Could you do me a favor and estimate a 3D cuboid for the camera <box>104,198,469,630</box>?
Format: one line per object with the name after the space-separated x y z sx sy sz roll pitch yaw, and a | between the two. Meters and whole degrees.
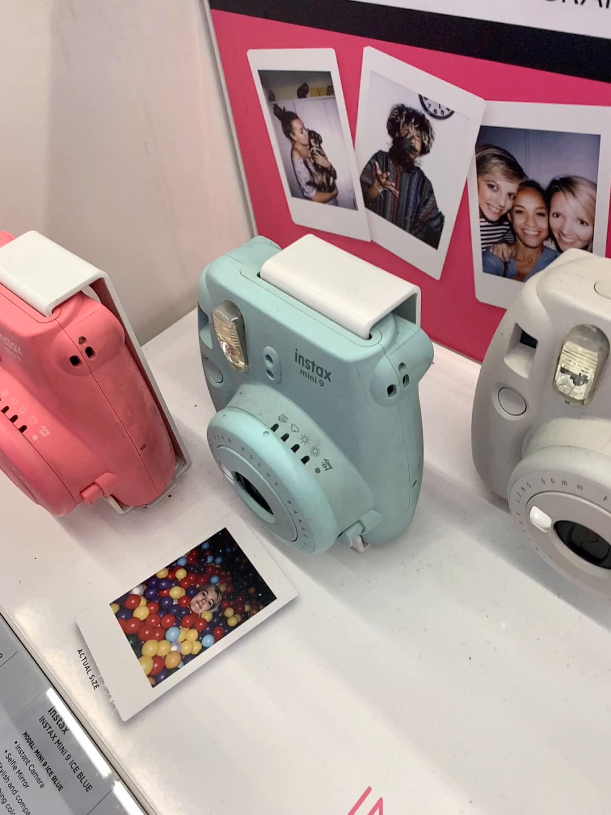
-0.003 0.004 0.263 0.070 0.129 0.111 -38 53 -23 | camera
